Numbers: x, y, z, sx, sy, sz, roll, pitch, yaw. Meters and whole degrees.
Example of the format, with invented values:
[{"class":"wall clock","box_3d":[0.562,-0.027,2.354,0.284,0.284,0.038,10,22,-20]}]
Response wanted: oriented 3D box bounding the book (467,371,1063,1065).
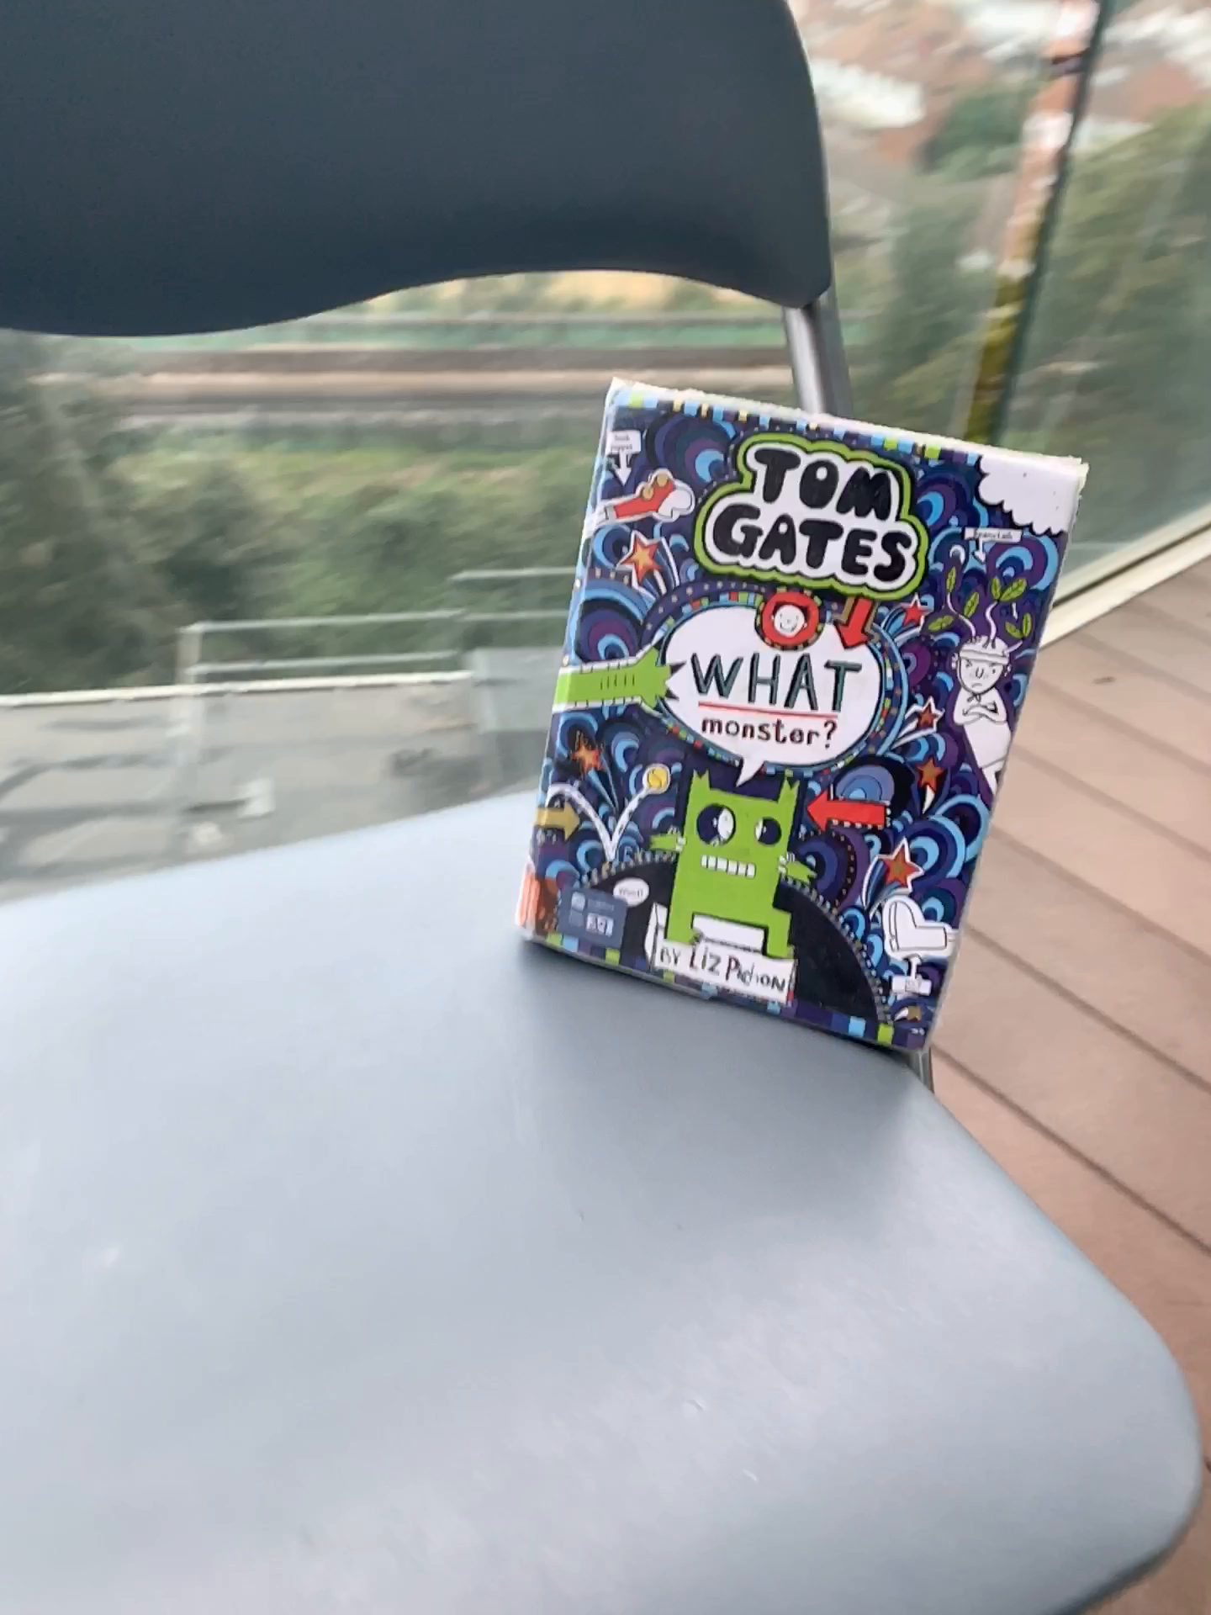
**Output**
[{"class":"book","box_3d":[0.048,-0.033,0.429,0.160,0.199,0.050,14,18,13]}]
